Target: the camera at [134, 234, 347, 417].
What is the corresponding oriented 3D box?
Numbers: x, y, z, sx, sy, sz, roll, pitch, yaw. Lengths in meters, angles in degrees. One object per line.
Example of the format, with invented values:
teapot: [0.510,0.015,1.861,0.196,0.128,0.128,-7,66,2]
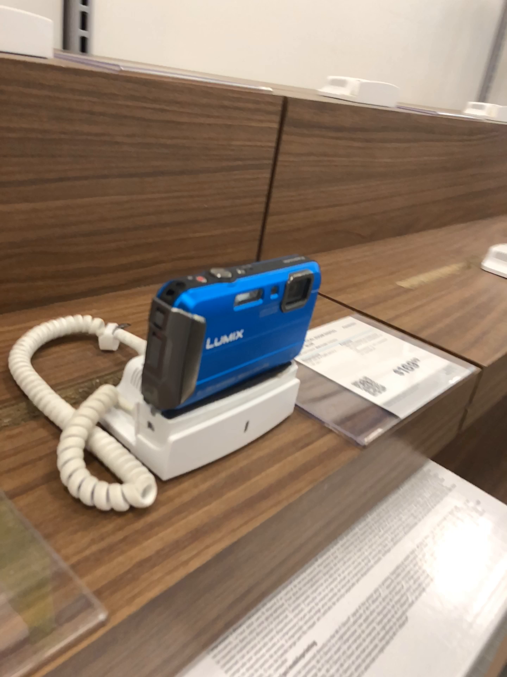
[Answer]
camera: [-0.002,-0.011,0.260,0.020,0.060,0.110,30,31,32]
